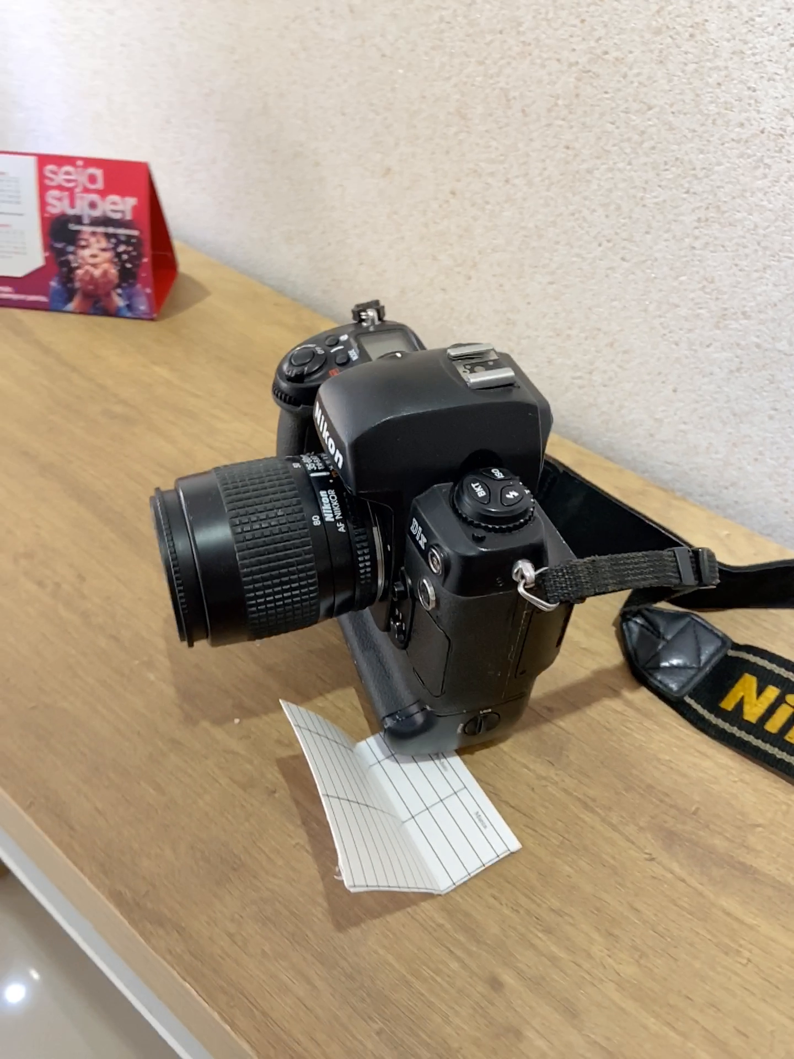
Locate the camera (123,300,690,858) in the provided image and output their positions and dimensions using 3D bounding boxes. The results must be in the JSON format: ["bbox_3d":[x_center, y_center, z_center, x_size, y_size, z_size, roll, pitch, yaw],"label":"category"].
[{"bbox_3d":[-0.008,0.010,0.344,0.160,0.129,0.151,-14,46,-19],"label":"camera"}]
